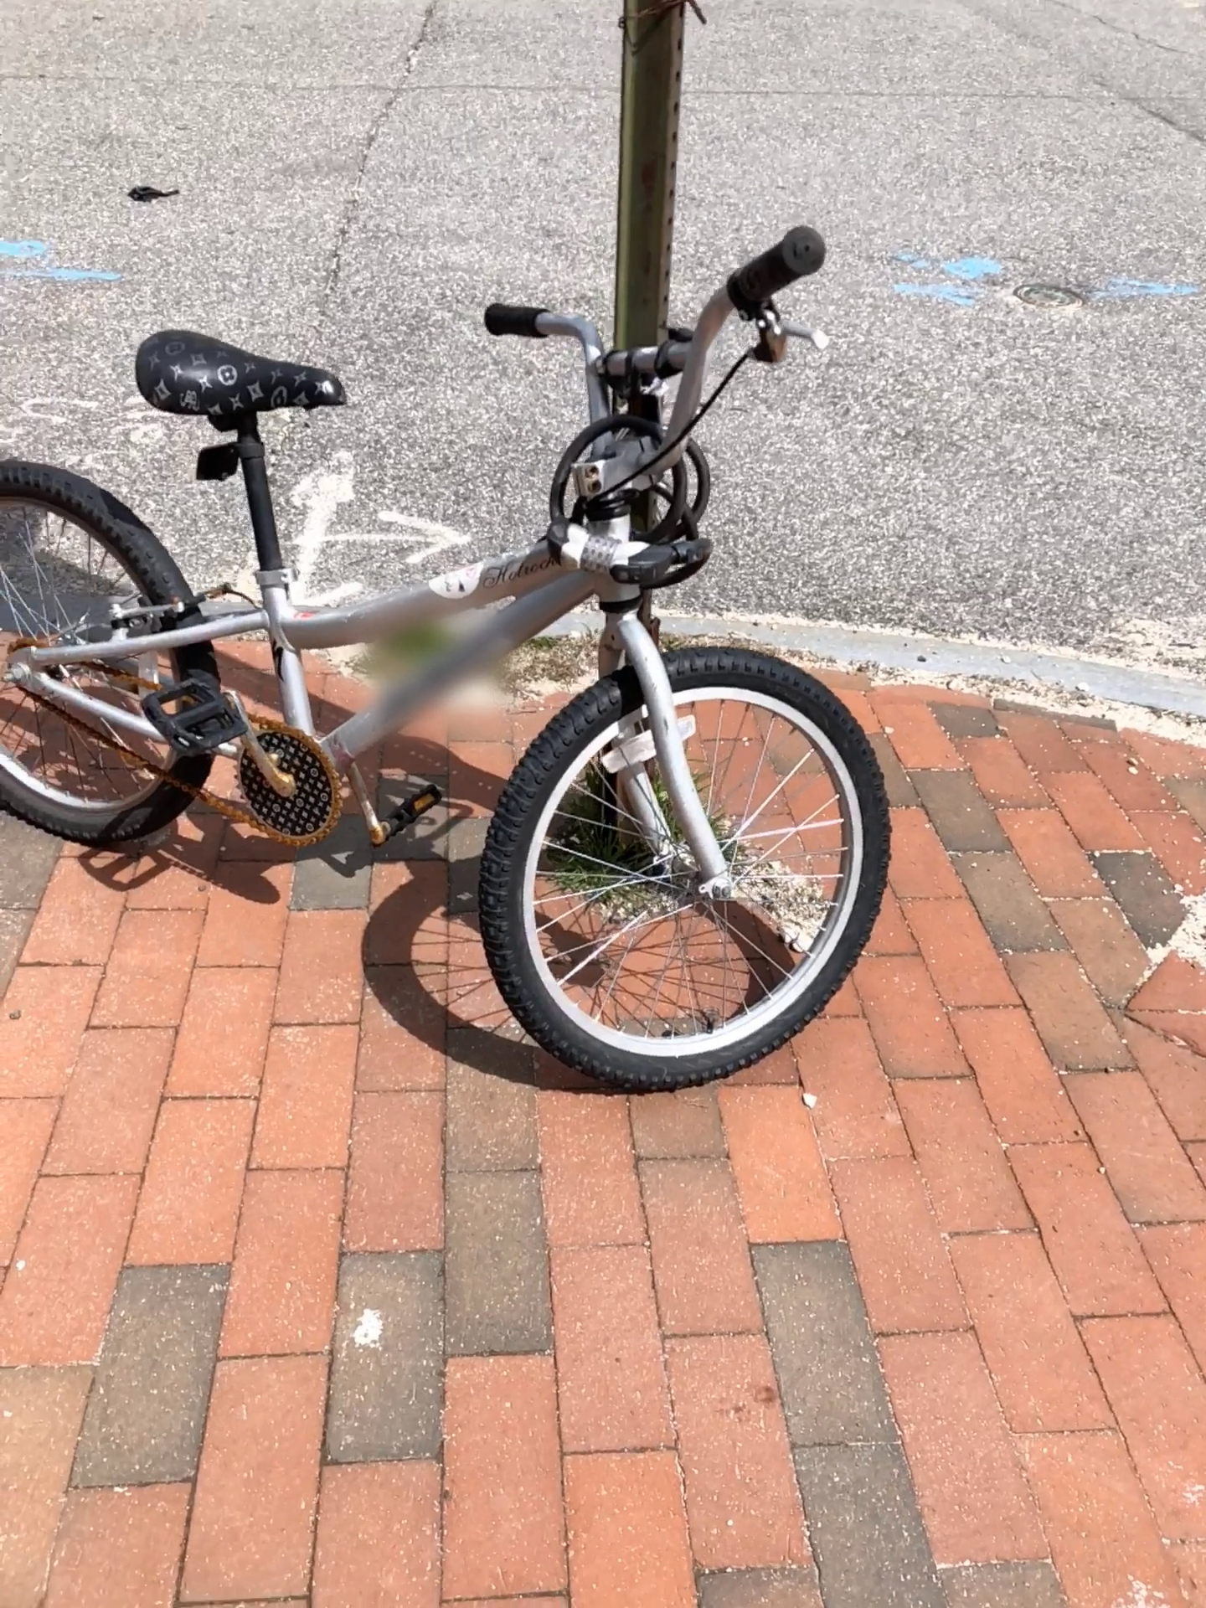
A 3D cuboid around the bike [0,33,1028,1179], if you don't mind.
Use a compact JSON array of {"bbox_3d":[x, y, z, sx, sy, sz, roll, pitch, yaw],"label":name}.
[{"bbox_3d":[-0.278,-0.286,1.438,1.208,0.831,0.719,12,36,11],"label":"bike"}]
